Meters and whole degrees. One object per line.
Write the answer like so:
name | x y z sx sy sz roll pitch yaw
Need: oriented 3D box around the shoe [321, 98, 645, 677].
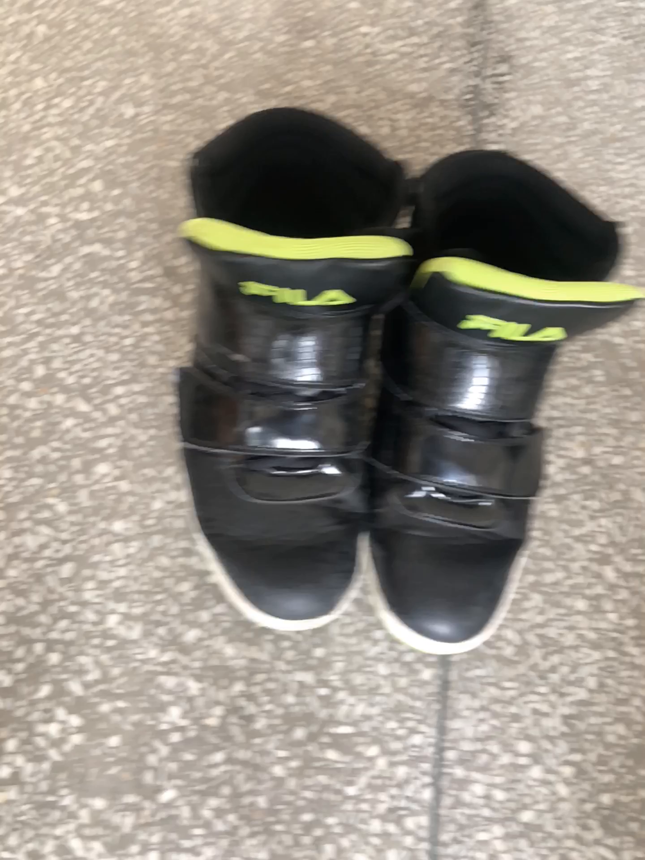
shoe | 0.091 -0.010 0.382 0.120 0.148 0.250 13 69 -7

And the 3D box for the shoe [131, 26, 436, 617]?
shoe | -0.020 -0.046 0.394 0.120 0.148 0.270 7 70 -9
